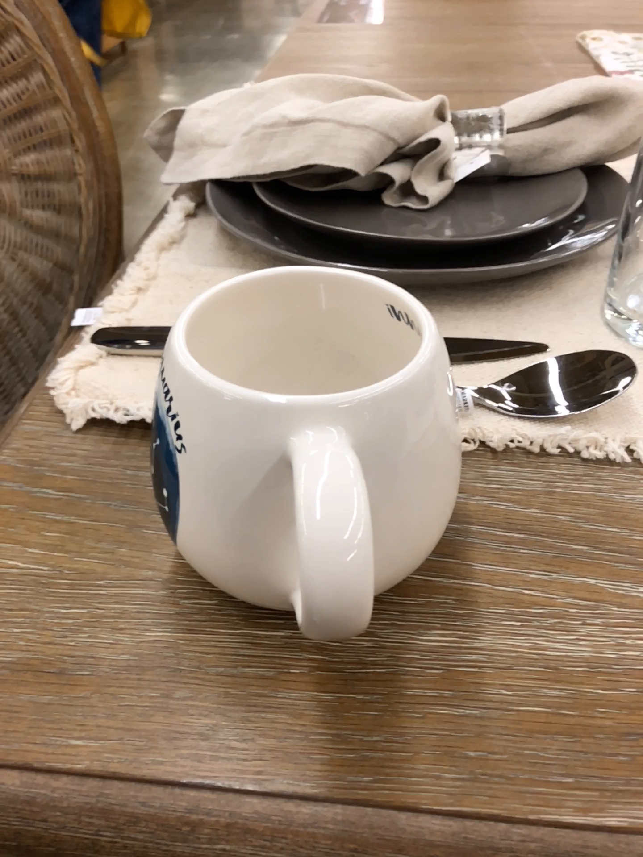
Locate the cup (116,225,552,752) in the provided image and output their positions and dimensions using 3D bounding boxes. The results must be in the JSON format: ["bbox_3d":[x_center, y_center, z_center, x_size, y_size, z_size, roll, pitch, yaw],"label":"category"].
[{"bbox_3d":[-0.008,0.006,0.224,0.082,0.081,0.135,-12,39,-13],"label":"cup"}]
